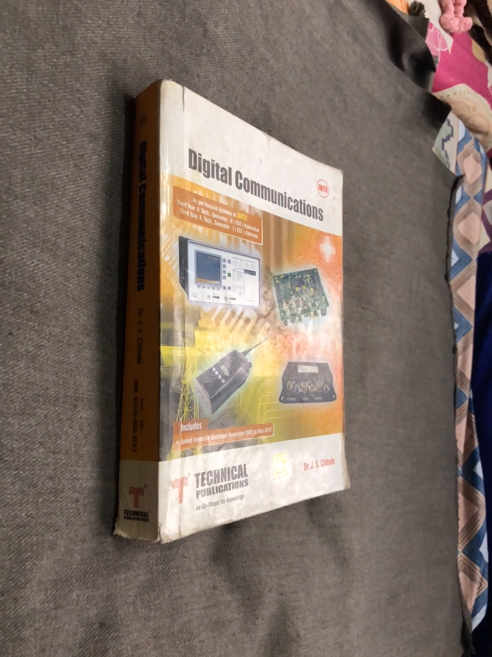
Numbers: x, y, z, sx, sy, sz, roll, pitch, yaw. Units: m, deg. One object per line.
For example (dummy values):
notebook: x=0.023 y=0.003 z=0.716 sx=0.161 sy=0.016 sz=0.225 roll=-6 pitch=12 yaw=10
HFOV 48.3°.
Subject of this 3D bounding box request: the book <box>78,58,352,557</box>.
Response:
book: x=-0.006 y=-0.006 z=0.346 sx=0.182 sy=0.050 sz=0.241 roll=7 pitch=81 yaw=-47
